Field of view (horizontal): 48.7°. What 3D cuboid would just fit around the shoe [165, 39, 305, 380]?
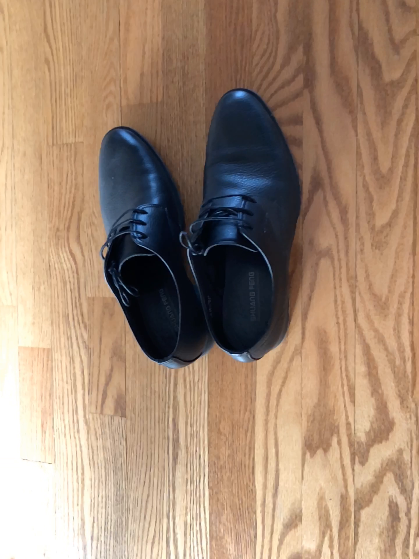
[{"bbox_3d":[0.033,-0.062,0.484,0.110,0.124,0.299,-1,91,19],"label":"shoe"}]

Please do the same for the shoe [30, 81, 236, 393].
[{"bbox_3d":[-0.083,-0.044,0.539,0.110,0.124,0.304,-19,85,19],"label":"shoe"}]
